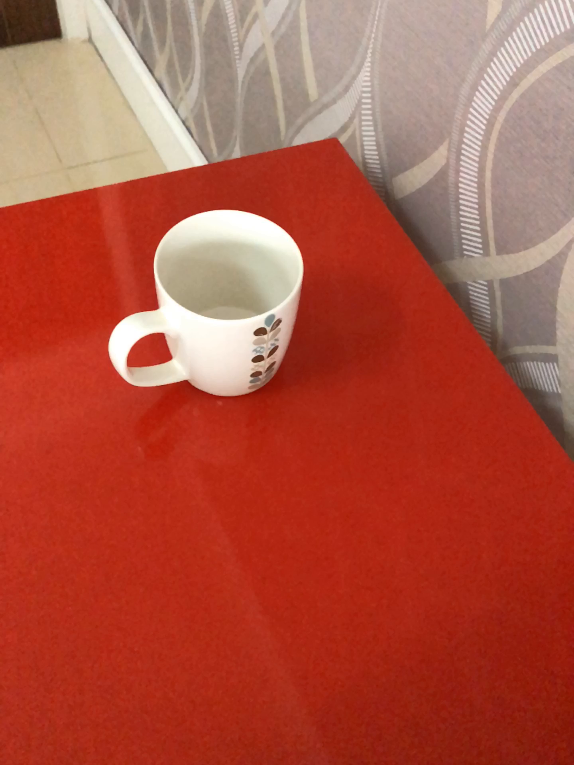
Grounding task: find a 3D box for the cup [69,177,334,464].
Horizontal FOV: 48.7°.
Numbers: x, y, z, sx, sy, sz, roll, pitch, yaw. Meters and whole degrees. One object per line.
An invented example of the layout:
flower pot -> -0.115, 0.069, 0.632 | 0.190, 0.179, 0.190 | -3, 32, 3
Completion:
cup -> -0.053, -0.038, 0.411 | 0.120, 0.119, 0.090 | -31, 65, -24
